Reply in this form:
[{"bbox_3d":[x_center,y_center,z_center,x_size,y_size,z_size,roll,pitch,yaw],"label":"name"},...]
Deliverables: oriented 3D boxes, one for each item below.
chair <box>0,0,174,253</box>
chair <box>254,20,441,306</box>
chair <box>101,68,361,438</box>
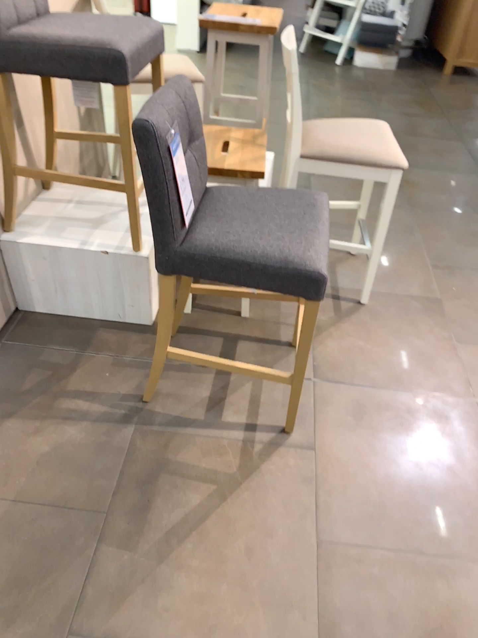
[{"bbox_3d":[-0.549,-0.780,1.605,0.538,0.918,0.551,6,40,2],"label":"chair"},{"bbox_3d":[0.360,-0.602,1.982,0.498,0.938,0.511,6,40,2],"label":"chair"},{"bbox_3d":[-0.015,-0.161,1.447,0.518,0.908,0.491,7,40,3],"label":"chair"}]
